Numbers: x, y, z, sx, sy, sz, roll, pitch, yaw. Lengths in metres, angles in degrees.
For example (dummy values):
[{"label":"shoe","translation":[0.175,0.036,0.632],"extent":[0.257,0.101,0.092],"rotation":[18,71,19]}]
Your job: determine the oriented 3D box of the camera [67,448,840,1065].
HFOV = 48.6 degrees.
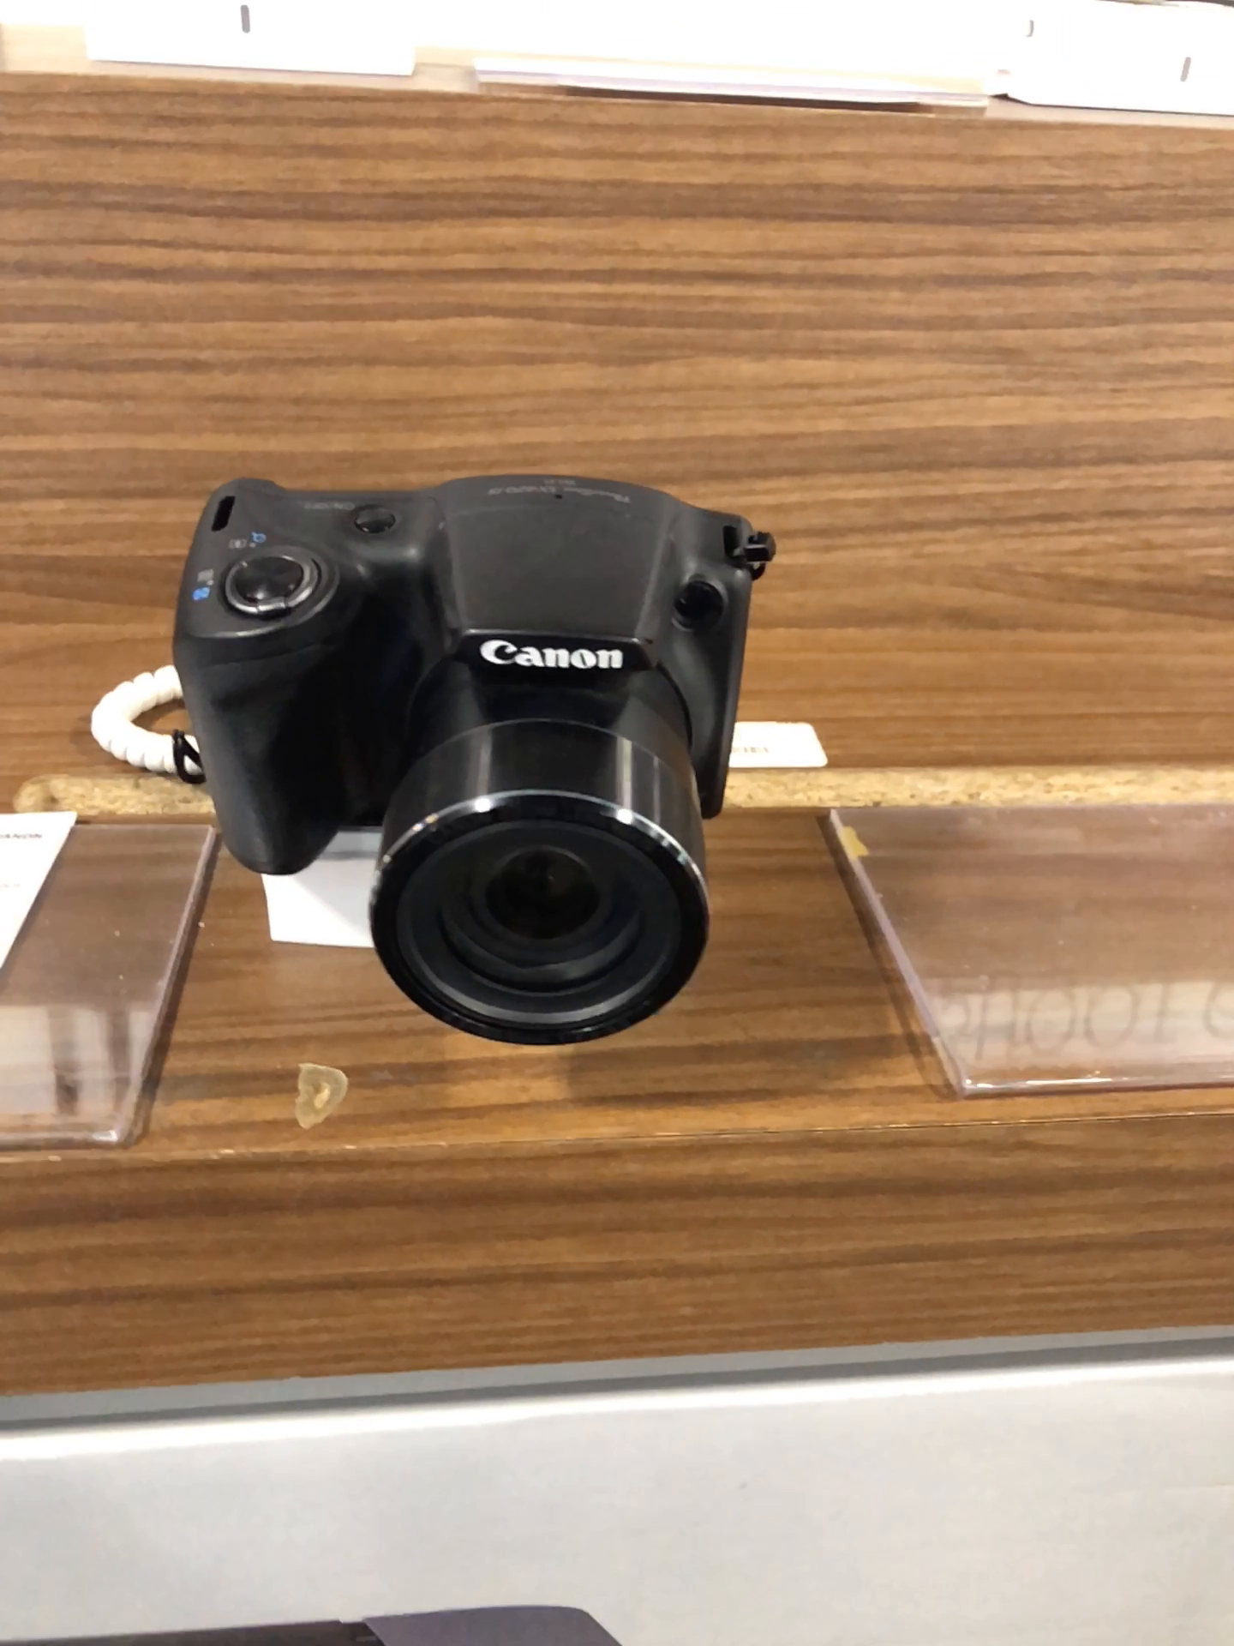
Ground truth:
[{"label":"camera","translation":[-0.025,-0.016,0.234],"extent":[0.100,0.070,0.091],"rotation":[0,30,-6]}]
